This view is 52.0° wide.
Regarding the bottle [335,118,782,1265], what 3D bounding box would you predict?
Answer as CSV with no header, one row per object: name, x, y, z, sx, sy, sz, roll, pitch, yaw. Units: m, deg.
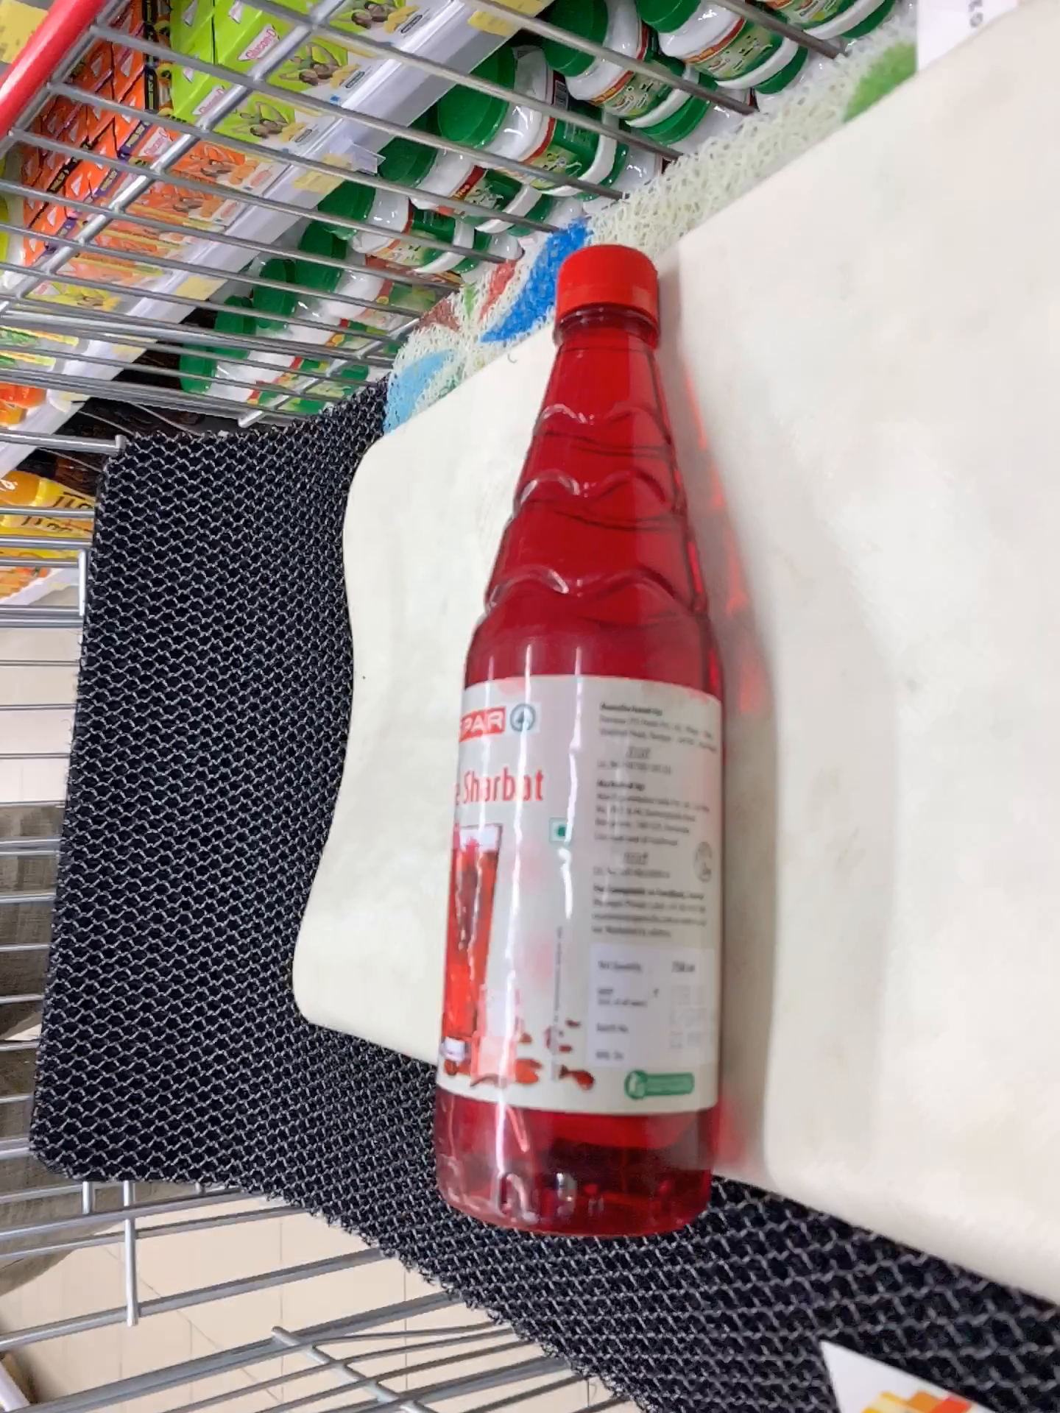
bottle,0.009,-0.004,0.261,0.070,0.070,0.230,-13,71,56
